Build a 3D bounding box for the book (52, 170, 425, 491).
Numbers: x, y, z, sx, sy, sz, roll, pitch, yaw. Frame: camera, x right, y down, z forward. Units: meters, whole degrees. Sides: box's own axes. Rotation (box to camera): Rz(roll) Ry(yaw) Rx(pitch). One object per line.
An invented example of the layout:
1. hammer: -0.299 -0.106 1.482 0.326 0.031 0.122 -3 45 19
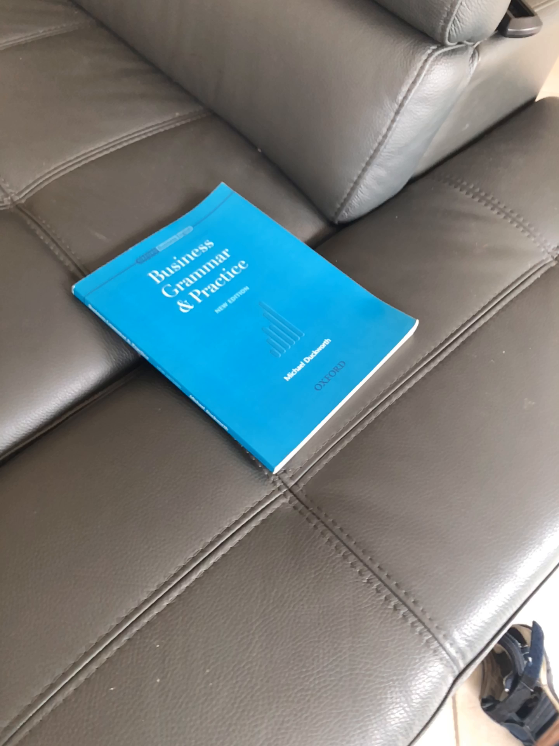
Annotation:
1. book: -0.038 -0.061 0.608 0.280 0.020 0.231 39 65 15
